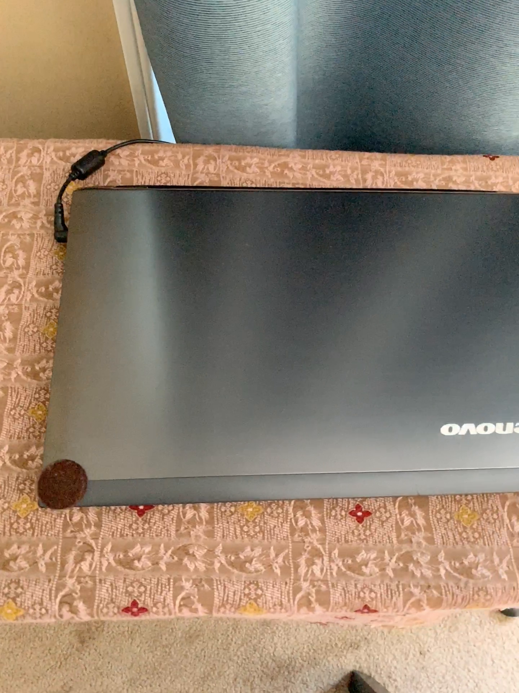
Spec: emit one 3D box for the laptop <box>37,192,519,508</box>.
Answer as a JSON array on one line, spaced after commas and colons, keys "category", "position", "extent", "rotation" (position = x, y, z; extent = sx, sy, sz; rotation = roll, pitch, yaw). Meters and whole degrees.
[{"category": "laptop", "position": [0.041, -0.010, 0.373], "extent": [0.356, 0.011, 0.223], "rotation": [-1, 70, -3]}]
